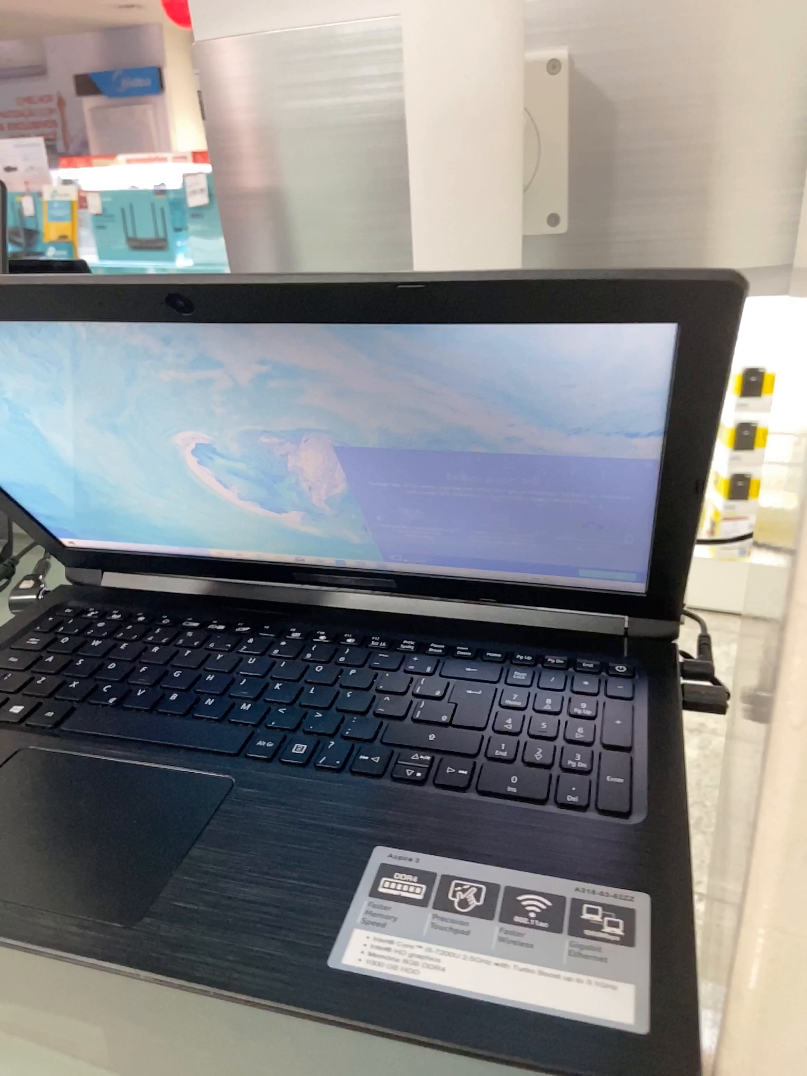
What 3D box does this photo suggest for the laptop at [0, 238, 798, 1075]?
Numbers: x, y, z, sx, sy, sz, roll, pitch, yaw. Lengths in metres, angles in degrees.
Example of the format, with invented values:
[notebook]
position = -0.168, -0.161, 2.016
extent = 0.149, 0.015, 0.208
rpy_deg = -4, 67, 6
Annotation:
[laptop]
position = -0.072, 0.000, 0.338
extent = 0.367, 0.193, 0.235
rpy_deg = 3, 24, 16
